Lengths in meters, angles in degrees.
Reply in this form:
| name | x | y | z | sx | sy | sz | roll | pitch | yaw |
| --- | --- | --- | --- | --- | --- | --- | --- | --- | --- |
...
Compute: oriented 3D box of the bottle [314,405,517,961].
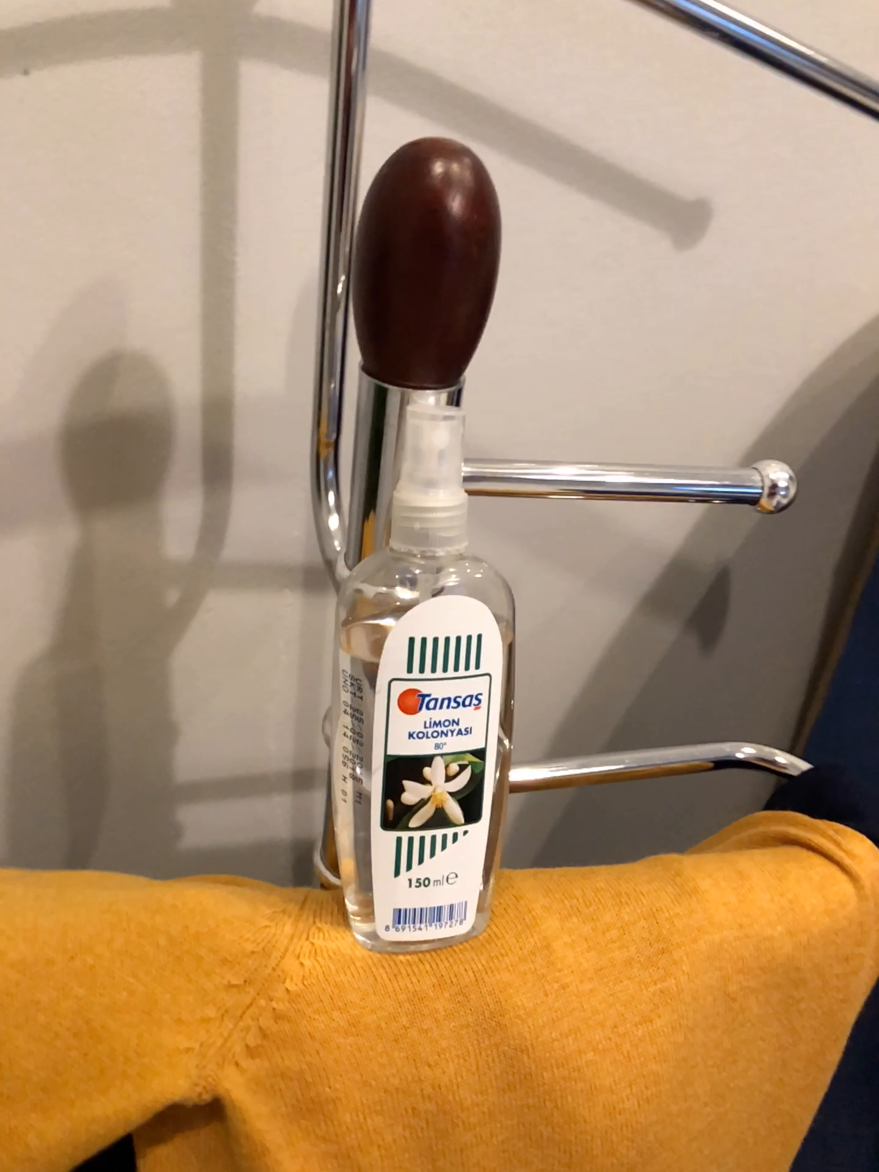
| name | x | y | z | sx | sy | sz | roll | pitch | yaw |
| --- | --- | --- | --- | --- | --- | --- | --- | --- | --- |
| bottle | -0.010 | 0.028 | 0.285 | 0.051 | 0.158 | 0.030 | -1 | 14 | -13 |
